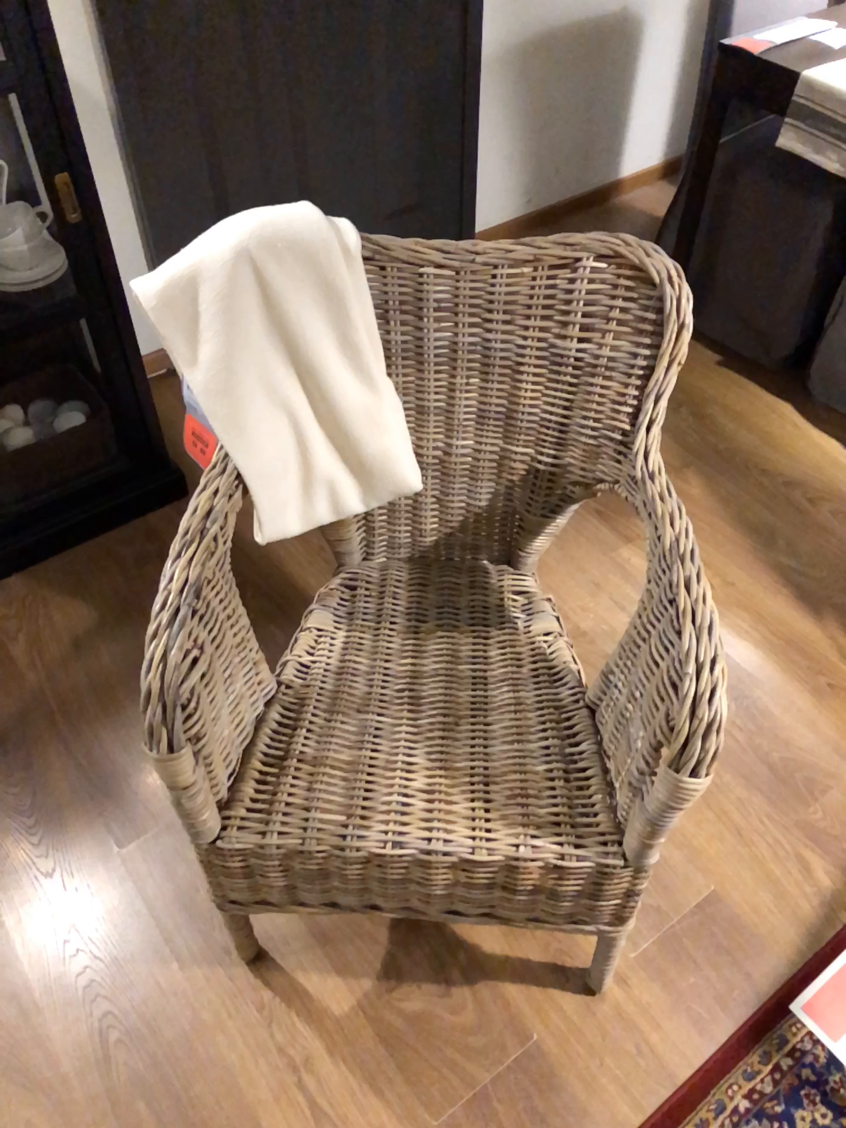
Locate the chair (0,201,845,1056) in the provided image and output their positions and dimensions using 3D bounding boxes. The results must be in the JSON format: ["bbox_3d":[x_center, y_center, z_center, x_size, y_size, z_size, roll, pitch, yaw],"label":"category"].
[{"bbox_3d":[0.015,0.110,1.118,0.620,0.815,0.633,2,47,2],"label":"chair"}]
